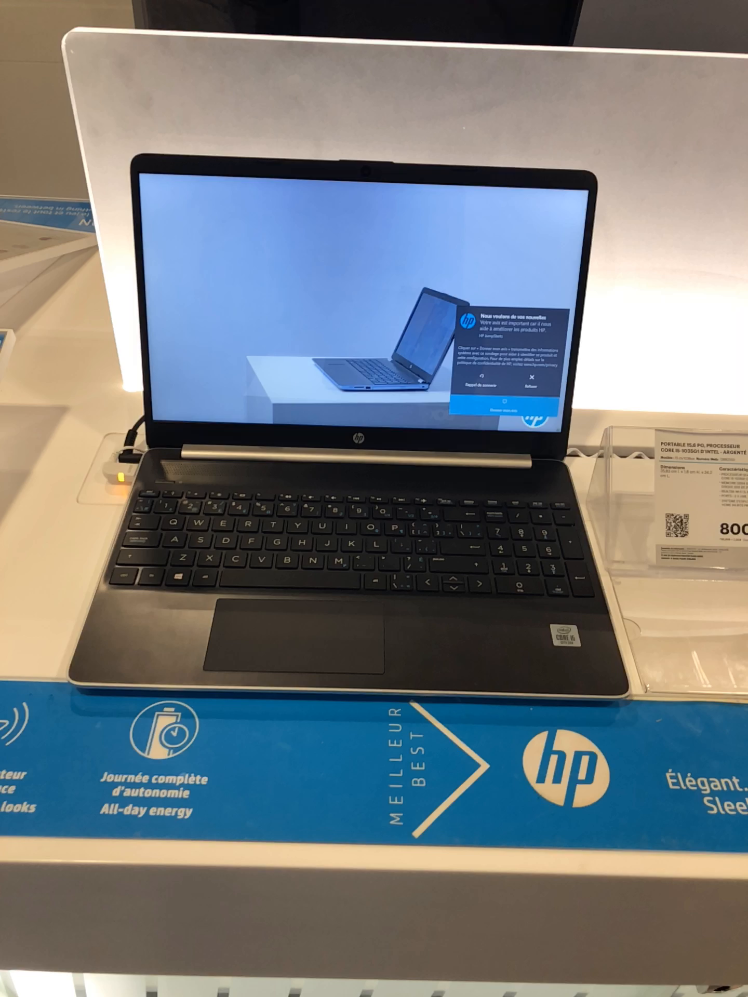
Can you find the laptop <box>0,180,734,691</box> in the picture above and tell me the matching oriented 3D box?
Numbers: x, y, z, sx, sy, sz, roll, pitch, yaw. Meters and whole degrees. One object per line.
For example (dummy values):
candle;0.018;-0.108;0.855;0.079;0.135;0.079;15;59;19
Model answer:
laptop;-0.005;-0.062;0.566;0.336;0.206;0.317;2;38;0
